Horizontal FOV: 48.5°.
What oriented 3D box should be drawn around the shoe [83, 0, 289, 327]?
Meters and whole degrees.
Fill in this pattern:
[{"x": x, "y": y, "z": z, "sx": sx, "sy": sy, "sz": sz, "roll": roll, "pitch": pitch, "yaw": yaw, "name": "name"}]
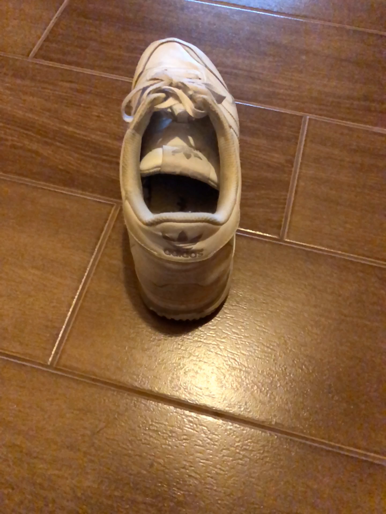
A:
[{"x": -0.007, "y": -0.108, "z": 0.374, "sx": 0.120, "sy": 0.119, "sz": 0.311, "roll": 0, "pitch": 62, "yaw": -2, "name": "shoe"}]
